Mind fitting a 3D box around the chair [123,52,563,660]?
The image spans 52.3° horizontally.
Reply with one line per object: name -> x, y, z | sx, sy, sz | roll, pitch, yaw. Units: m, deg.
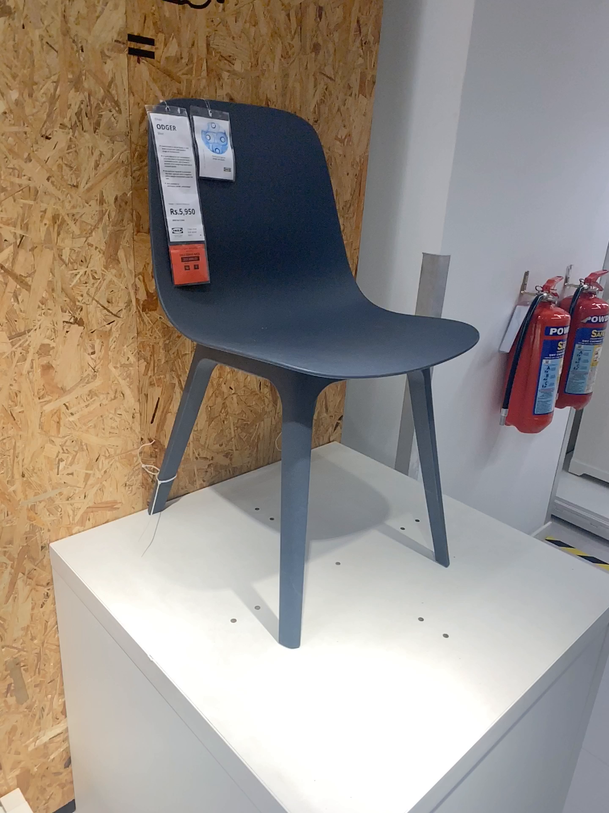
chair -> 0.017, -0.115, 1.060 | 0.431, 0.767, 0.501 | -13, 27, -37
